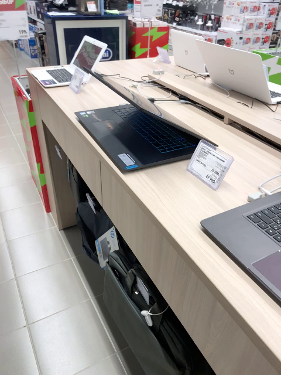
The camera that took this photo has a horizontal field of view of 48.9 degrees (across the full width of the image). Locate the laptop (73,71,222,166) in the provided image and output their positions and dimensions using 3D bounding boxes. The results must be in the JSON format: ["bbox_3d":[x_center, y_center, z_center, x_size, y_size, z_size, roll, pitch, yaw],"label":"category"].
[{"bbox_3d":[-0.006,-0.230,0.915,0.271,0.129,0.391,-14,34,-22],"label":"laptop"}]
